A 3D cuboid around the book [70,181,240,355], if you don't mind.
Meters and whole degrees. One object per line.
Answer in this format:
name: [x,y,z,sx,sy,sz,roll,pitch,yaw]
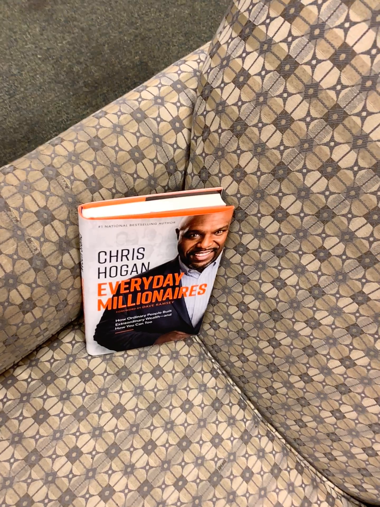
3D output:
book: [-0.050,0.029,0.464,0.160,0.245,0.038,-5,47,-17]
